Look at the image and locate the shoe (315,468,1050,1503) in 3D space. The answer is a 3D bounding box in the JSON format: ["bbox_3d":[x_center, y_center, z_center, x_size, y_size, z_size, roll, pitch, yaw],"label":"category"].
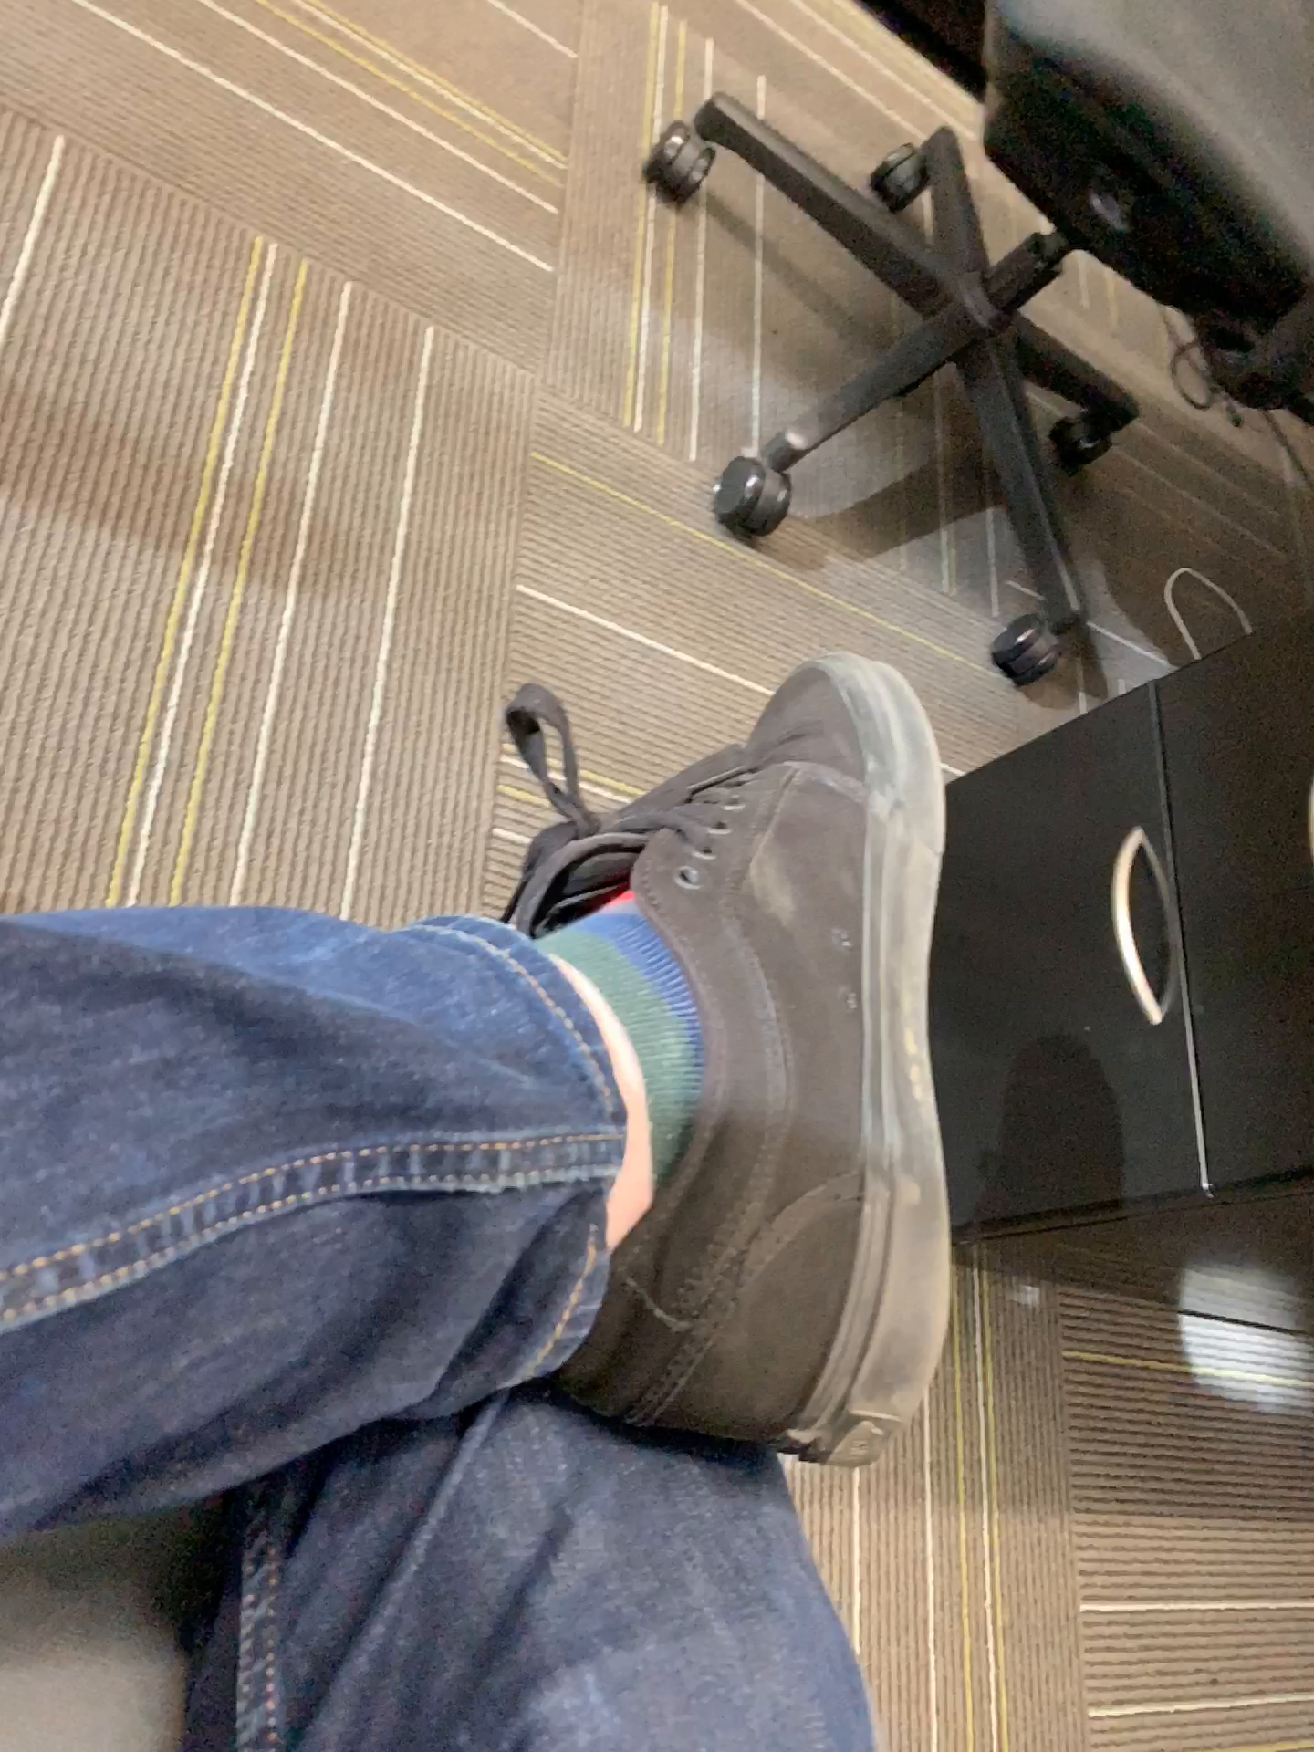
[{"bbox_3d":[0.018,0.034,0.410,0.135,0.120,0.260,25,58,-17],"label":"shoe"}]
